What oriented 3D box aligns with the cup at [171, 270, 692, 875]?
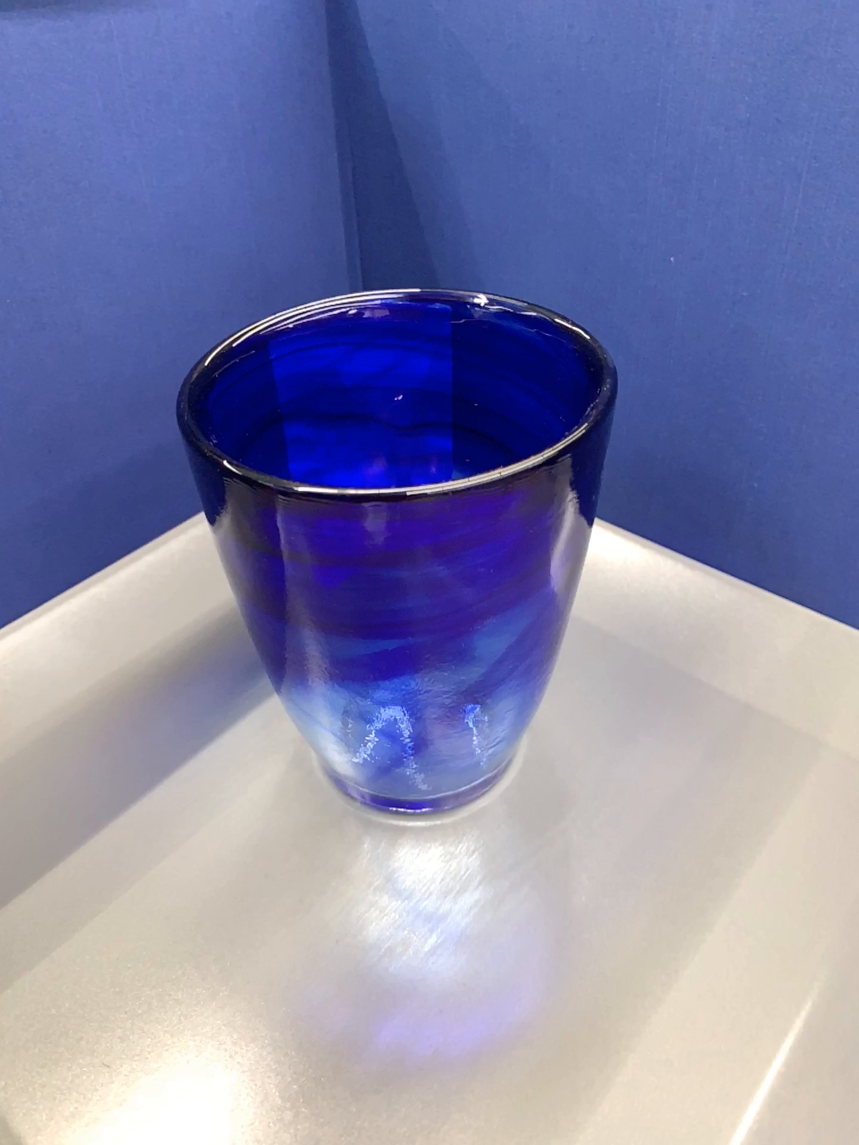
[{"bbox_3d":[-0.002,-0.001,0.215,0.087,0.111,0.082,-1,37,1],"label":"cup"}]
